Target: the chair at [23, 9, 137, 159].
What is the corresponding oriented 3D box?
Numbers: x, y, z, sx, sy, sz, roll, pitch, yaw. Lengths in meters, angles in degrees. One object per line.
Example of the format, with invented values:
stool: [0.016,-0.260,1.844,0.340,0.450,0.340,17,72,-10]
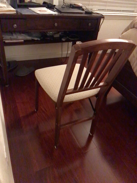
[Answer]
chair: [0.002,-0.102,1.231,0.532,0.893,0.723,-11,40,-24]
